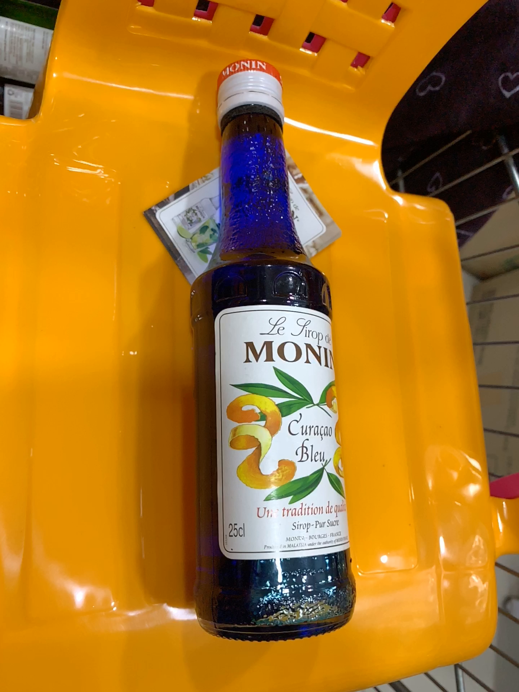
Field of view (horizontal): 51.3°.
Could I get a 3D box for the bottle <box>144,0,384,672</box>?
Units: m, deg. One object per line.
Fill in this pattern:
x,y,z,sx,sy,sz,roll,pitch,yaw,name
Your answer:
-0.002,-0.015,0.200,0.060,0.050,0.220,6,75,-30,bottle
